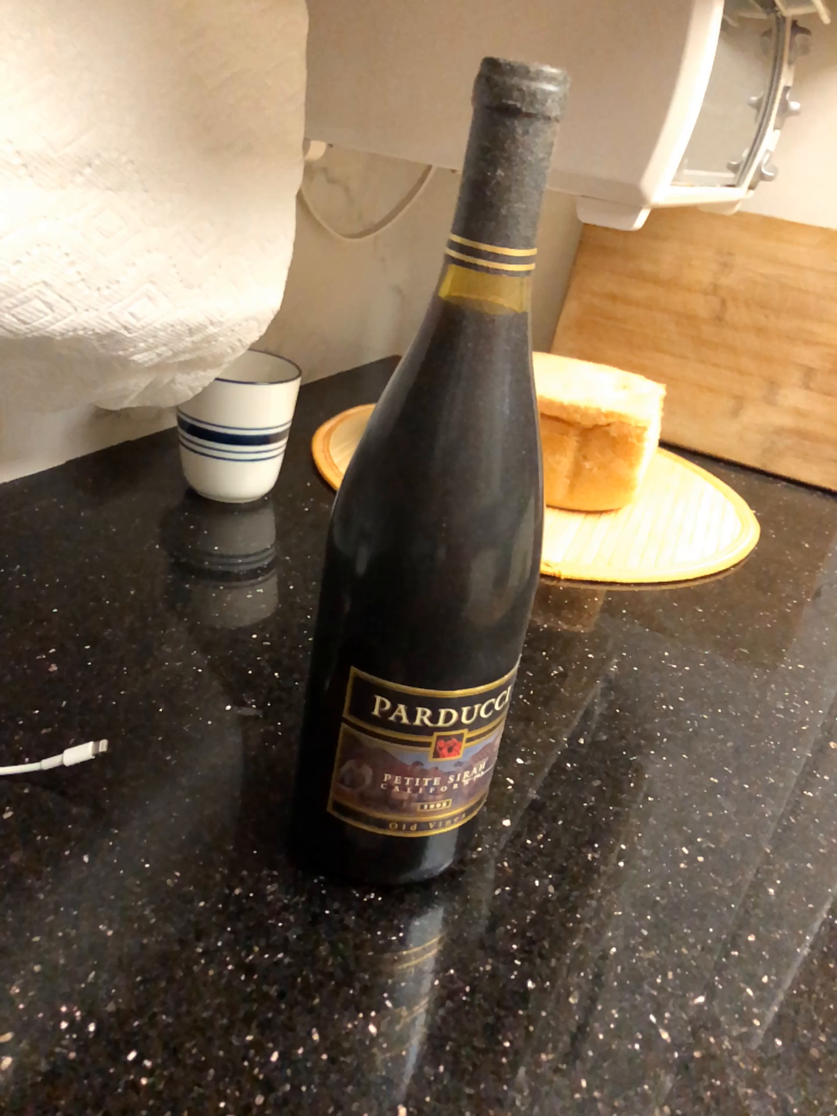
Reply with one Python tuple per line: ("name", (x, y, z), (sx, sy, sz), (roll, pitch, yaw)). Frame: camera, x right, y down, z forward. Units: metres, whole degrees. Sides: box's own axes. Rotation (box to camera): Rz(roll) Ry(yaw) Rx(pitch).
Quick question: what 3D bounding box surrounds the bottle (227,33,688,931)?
("bottle", (-0.006, -0.015, 0.340), (0.090, 0.298, 0.090), (8, 25, -4))
